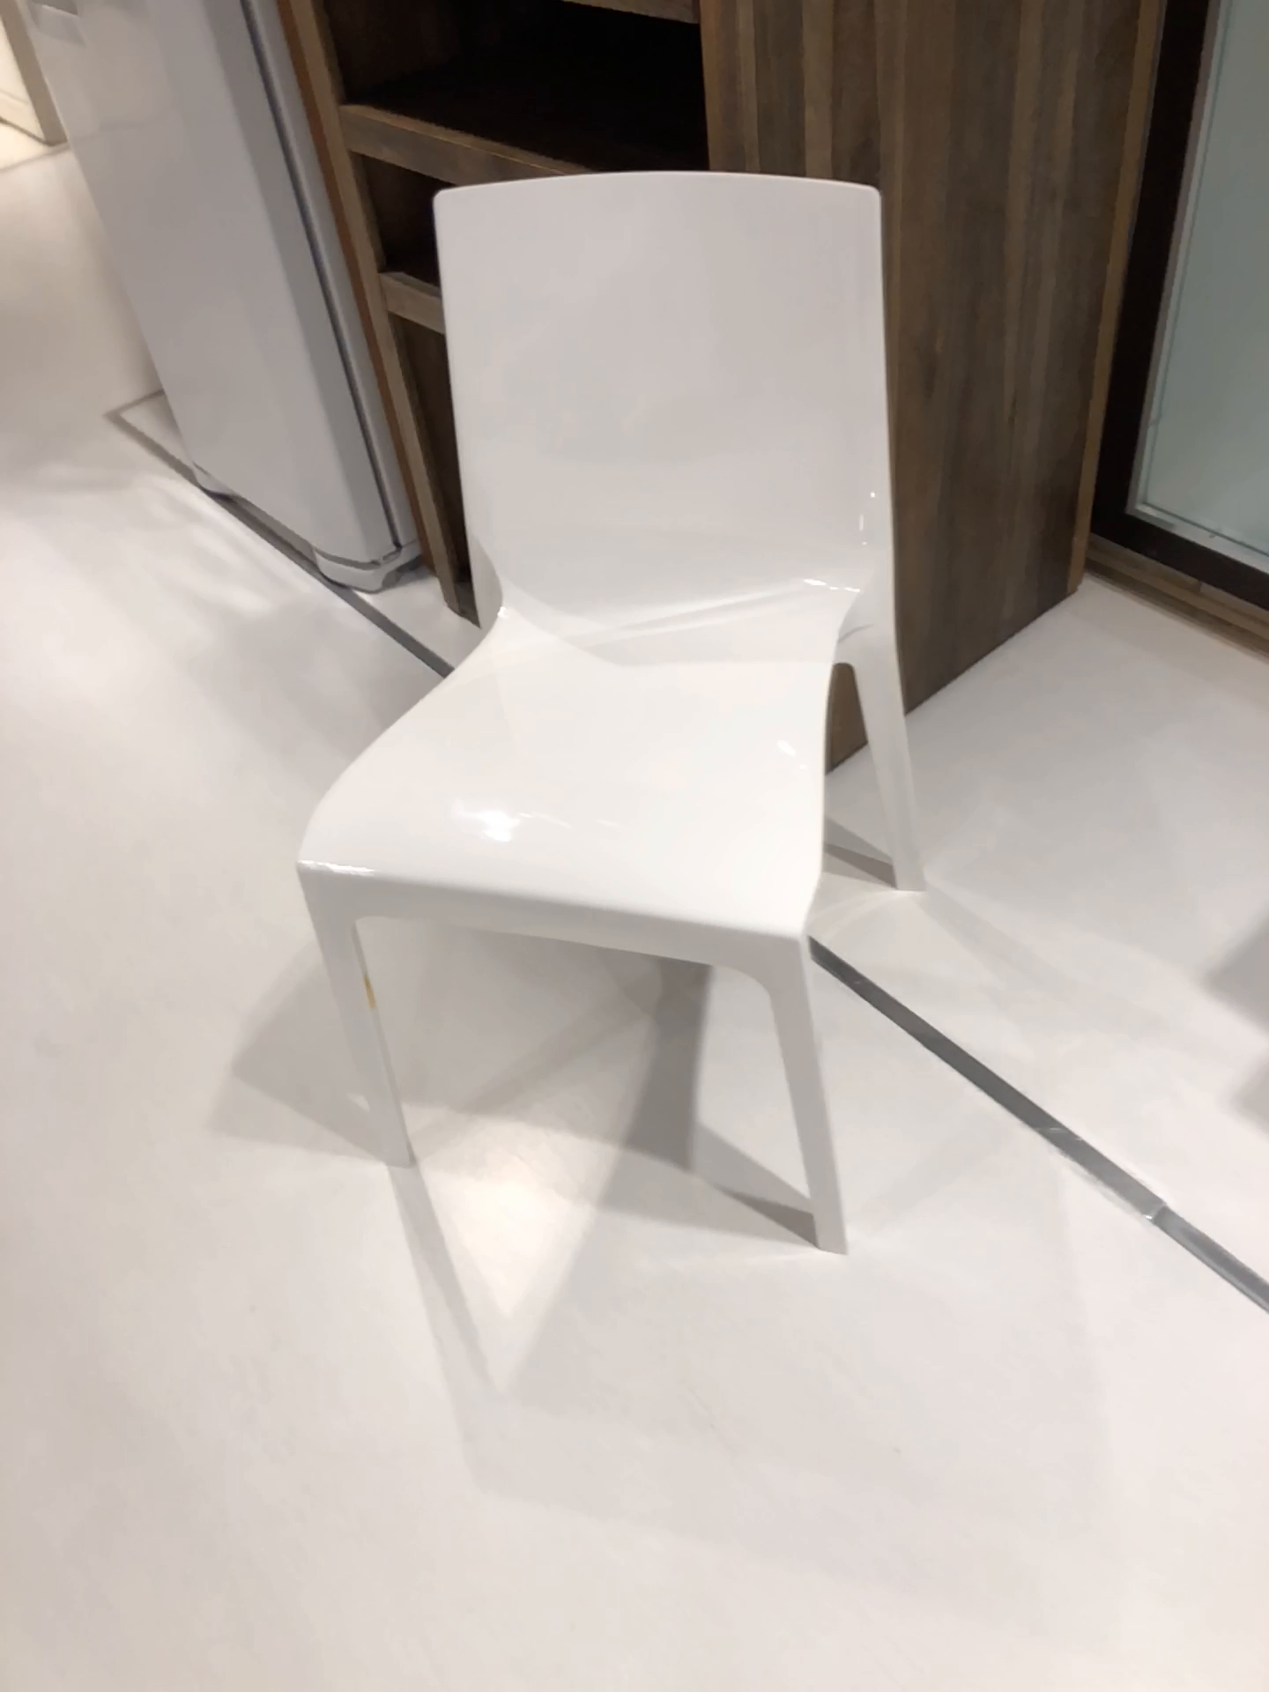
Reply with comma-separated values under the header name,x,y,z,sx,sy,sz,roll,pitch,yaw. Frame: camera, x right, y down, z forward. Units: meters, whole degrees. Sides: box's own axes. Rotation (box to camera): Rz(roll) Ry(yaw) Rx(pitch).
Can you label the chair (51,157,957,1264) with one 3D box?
name,x,y,z,sx,sy,sz,roll,pitch,yaw
chair,-0.013,-0.102,1.210,0.480,0.755,0.523,7,47,15
